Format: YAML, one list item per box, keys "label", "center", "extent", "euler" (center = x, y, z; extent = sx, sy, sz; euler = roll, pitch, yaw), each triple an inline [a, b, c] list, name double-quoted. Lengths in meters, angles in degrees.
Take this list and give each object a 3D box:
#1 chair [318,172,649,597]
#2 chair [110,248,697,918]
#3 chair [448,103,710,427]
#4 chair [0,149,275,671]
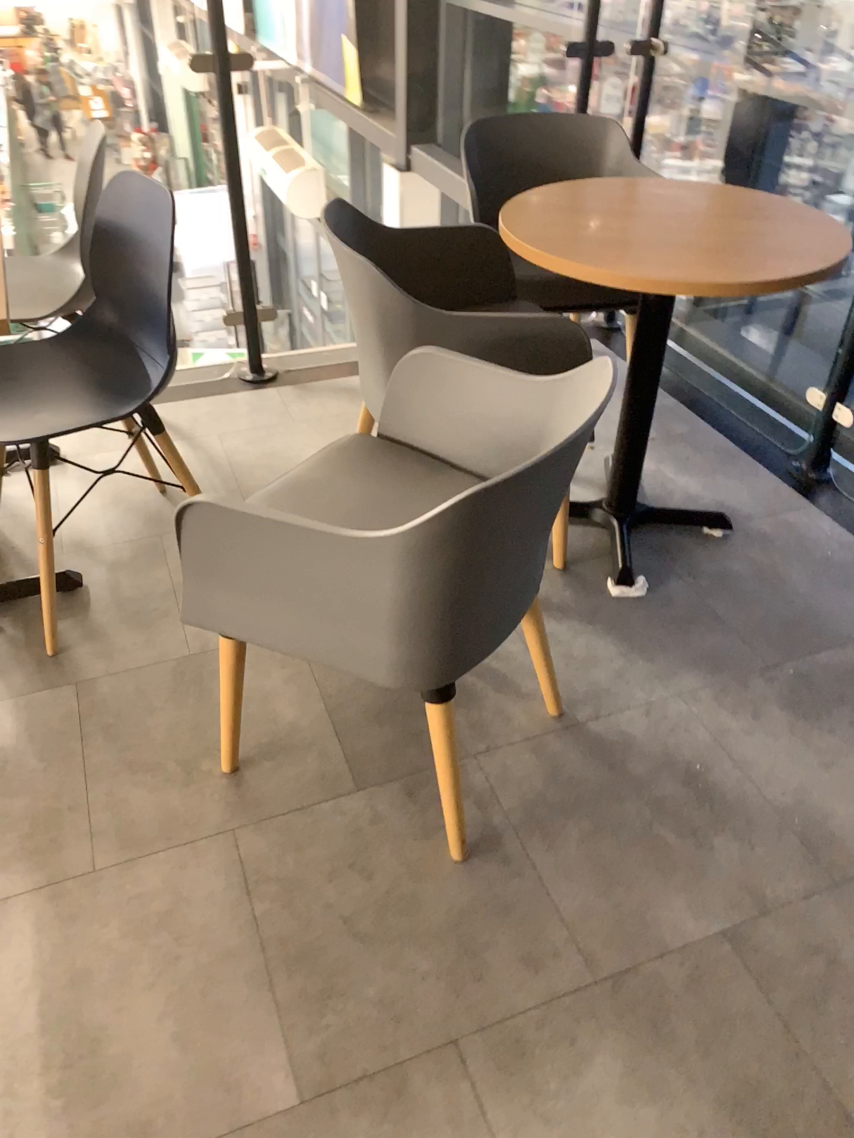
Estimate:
- label: "chair"
  center: [0.075, -0.411, 1.913]
  extent: [0.540, 0.724, 0.518]
  euler: [-6, 38, -9]
- label: "chair"
  center: [-0.016, -0.008, 1.376]
  extent: [0.581, 0.734, 0.547]
  euler: [21, 41, 22]
- label: "chair"
  center: [0.388, -0.904, 2.550]
  extent: [0.484, 0.724, 0.585]
  euler: [-9, 38, -13]
- label: "chair"
  center: [-0.675, -0.327, 1.715]
  extent: [0.511, 0.784, 0.476]
  euler: [-25, 45, -31]
